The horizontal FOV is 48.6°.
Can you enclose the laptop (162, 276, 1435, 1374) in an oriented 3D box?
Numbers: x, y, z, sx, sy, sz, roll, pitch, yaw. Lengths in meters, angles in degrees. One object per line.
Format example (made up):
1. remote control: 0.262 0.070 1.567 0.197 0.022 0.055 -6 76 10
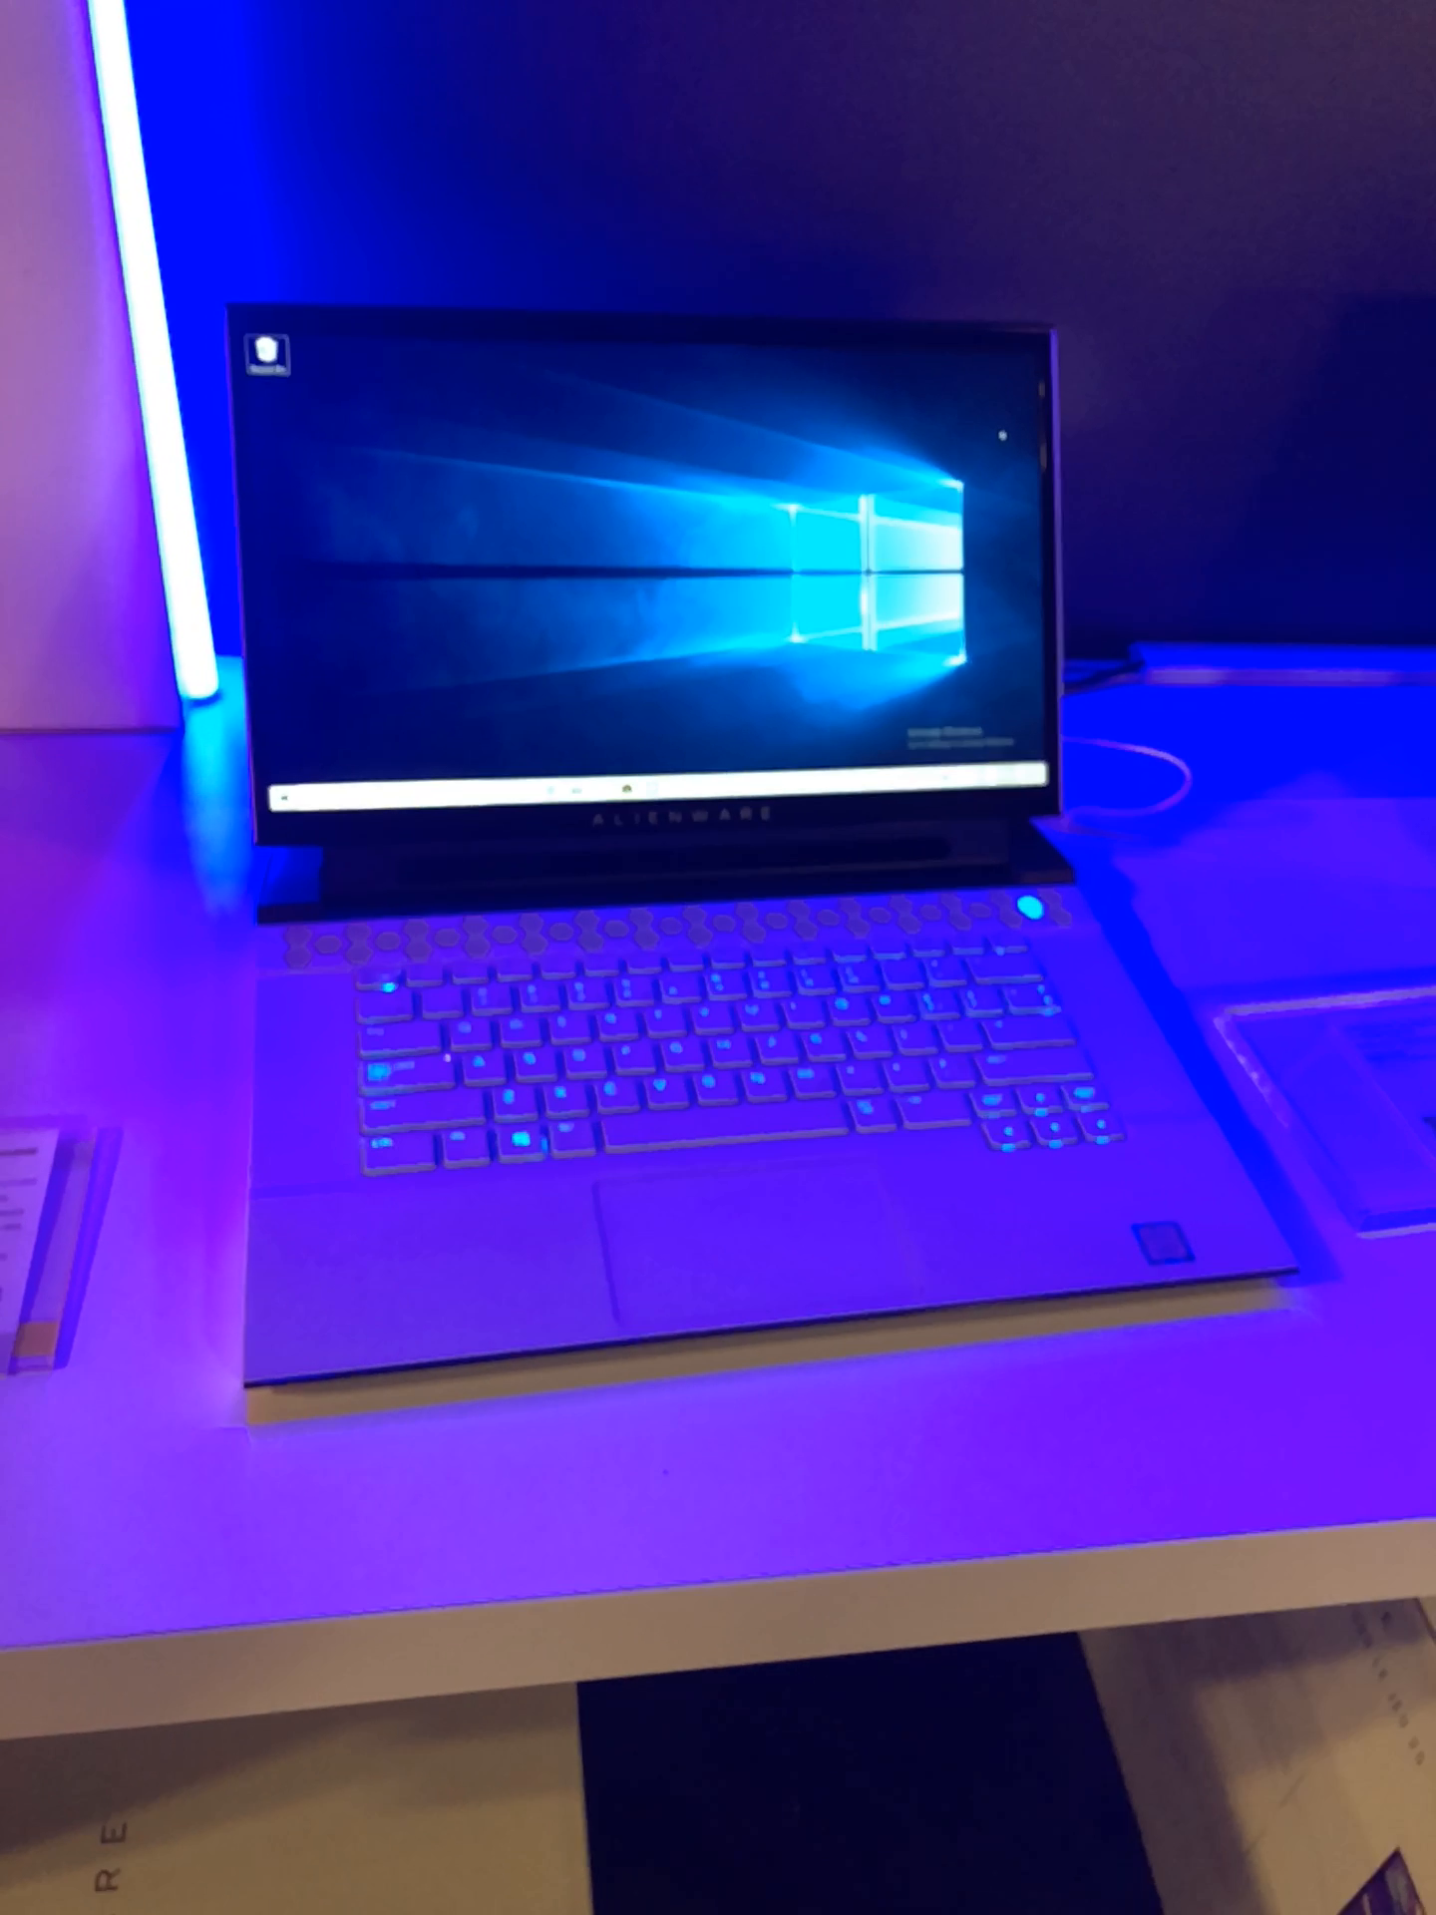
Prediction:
1. laptop: 0.000 -0.080 0.606 0.356 0.194 0.381 -3 42 -11
